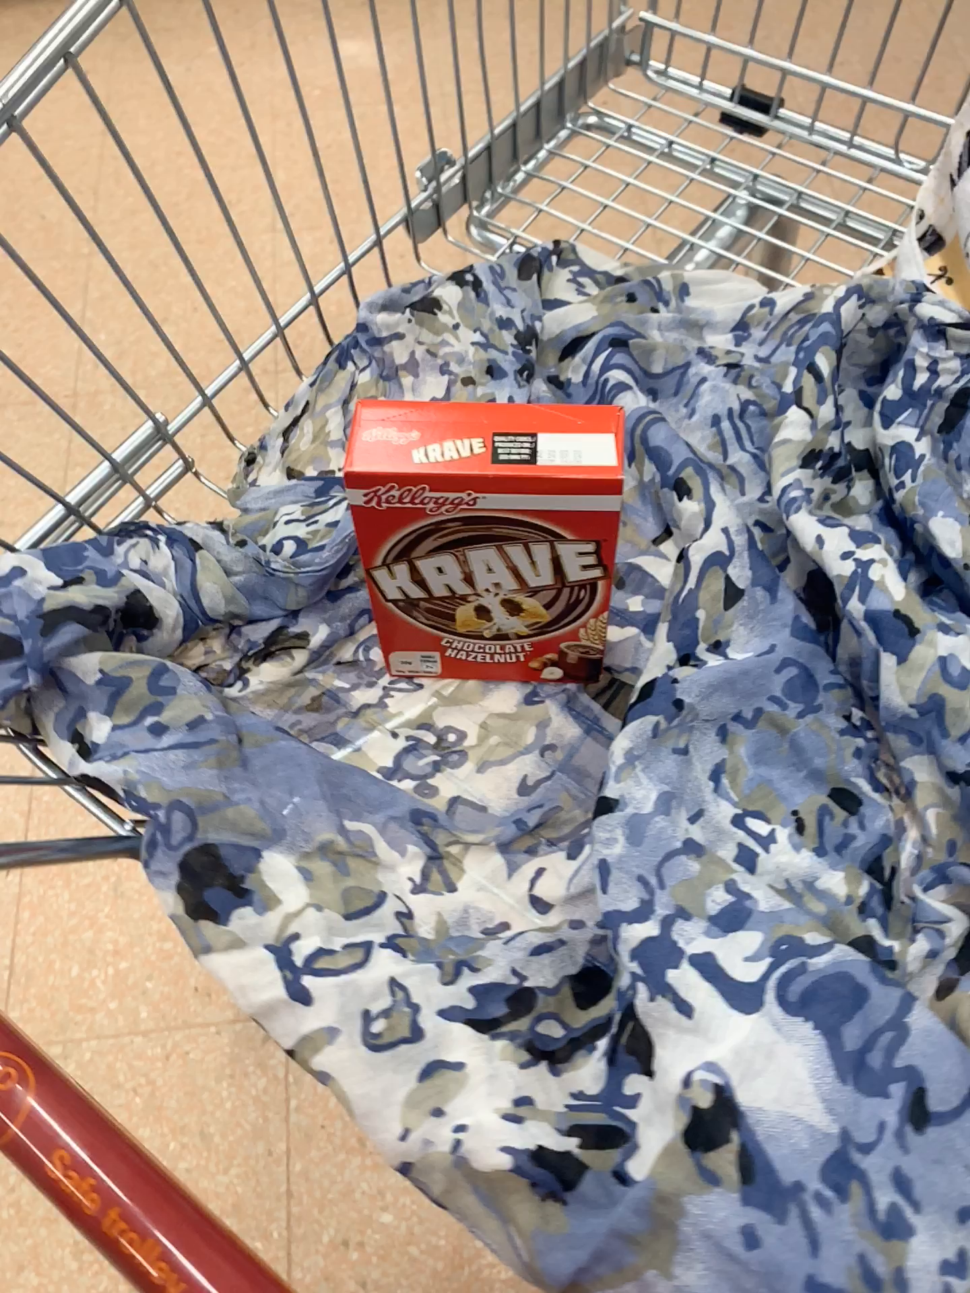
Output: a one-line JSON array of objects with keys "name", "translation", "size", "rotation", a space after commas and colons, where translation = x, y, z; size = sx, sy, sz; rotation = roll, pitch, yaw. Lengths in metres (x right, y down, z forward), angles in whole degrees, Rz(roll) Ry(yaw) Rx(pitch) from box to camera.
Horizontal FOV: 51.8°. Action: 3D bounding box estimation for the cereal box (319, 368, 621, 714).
[{"name": "cereal box", "translation": [-0.002, -0.031, 0.371], "size": [0.090, 0.149, 0.040], "rotation": [2, 57, 3]}]
